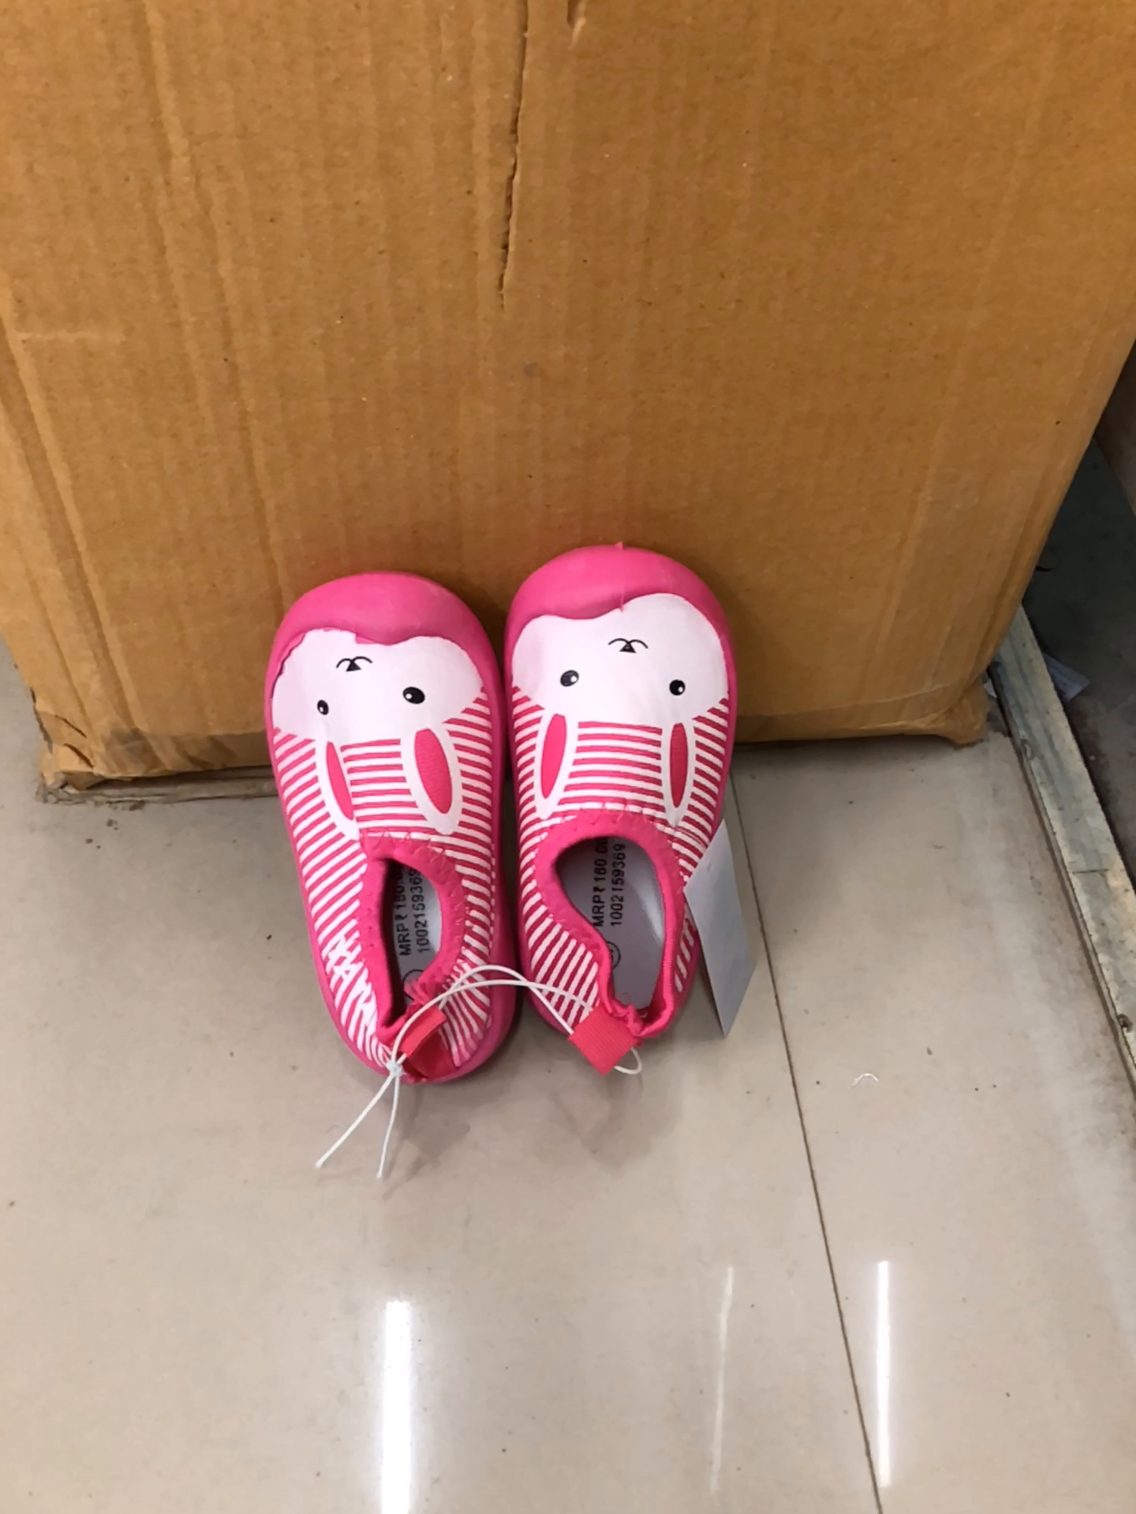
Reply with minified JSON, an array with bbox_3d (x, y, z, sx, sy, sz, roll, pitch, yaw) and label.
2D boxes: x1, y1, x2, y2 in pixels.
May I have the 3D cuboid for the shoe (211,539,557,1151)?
[{"bbox_3d":[-0.054,0.023,0.380,0.069,0.082,0.156,-9,91,-7],"label":"shoe"}]

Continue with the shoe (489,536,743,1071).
[{"bbox_3d":[0.015,0.012,0.390,0.069,0.082,0.148,0,91,3],"label":"shoe"}]
